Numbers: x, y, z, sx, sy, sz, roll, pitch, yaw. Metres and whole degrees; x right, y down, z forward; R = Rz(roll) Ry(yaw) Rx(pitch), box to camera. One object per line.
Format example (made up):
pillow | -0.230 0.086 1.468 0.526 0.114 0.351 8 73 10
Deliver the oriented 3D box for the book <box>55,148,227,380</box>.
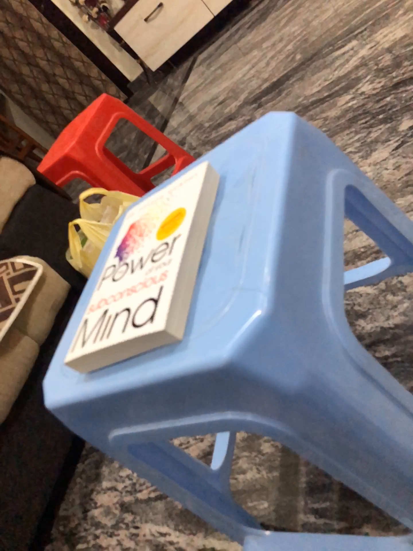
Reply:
book | -0.056 -0.013 0.419 0.141 0.030 0.200 -25 39 38
